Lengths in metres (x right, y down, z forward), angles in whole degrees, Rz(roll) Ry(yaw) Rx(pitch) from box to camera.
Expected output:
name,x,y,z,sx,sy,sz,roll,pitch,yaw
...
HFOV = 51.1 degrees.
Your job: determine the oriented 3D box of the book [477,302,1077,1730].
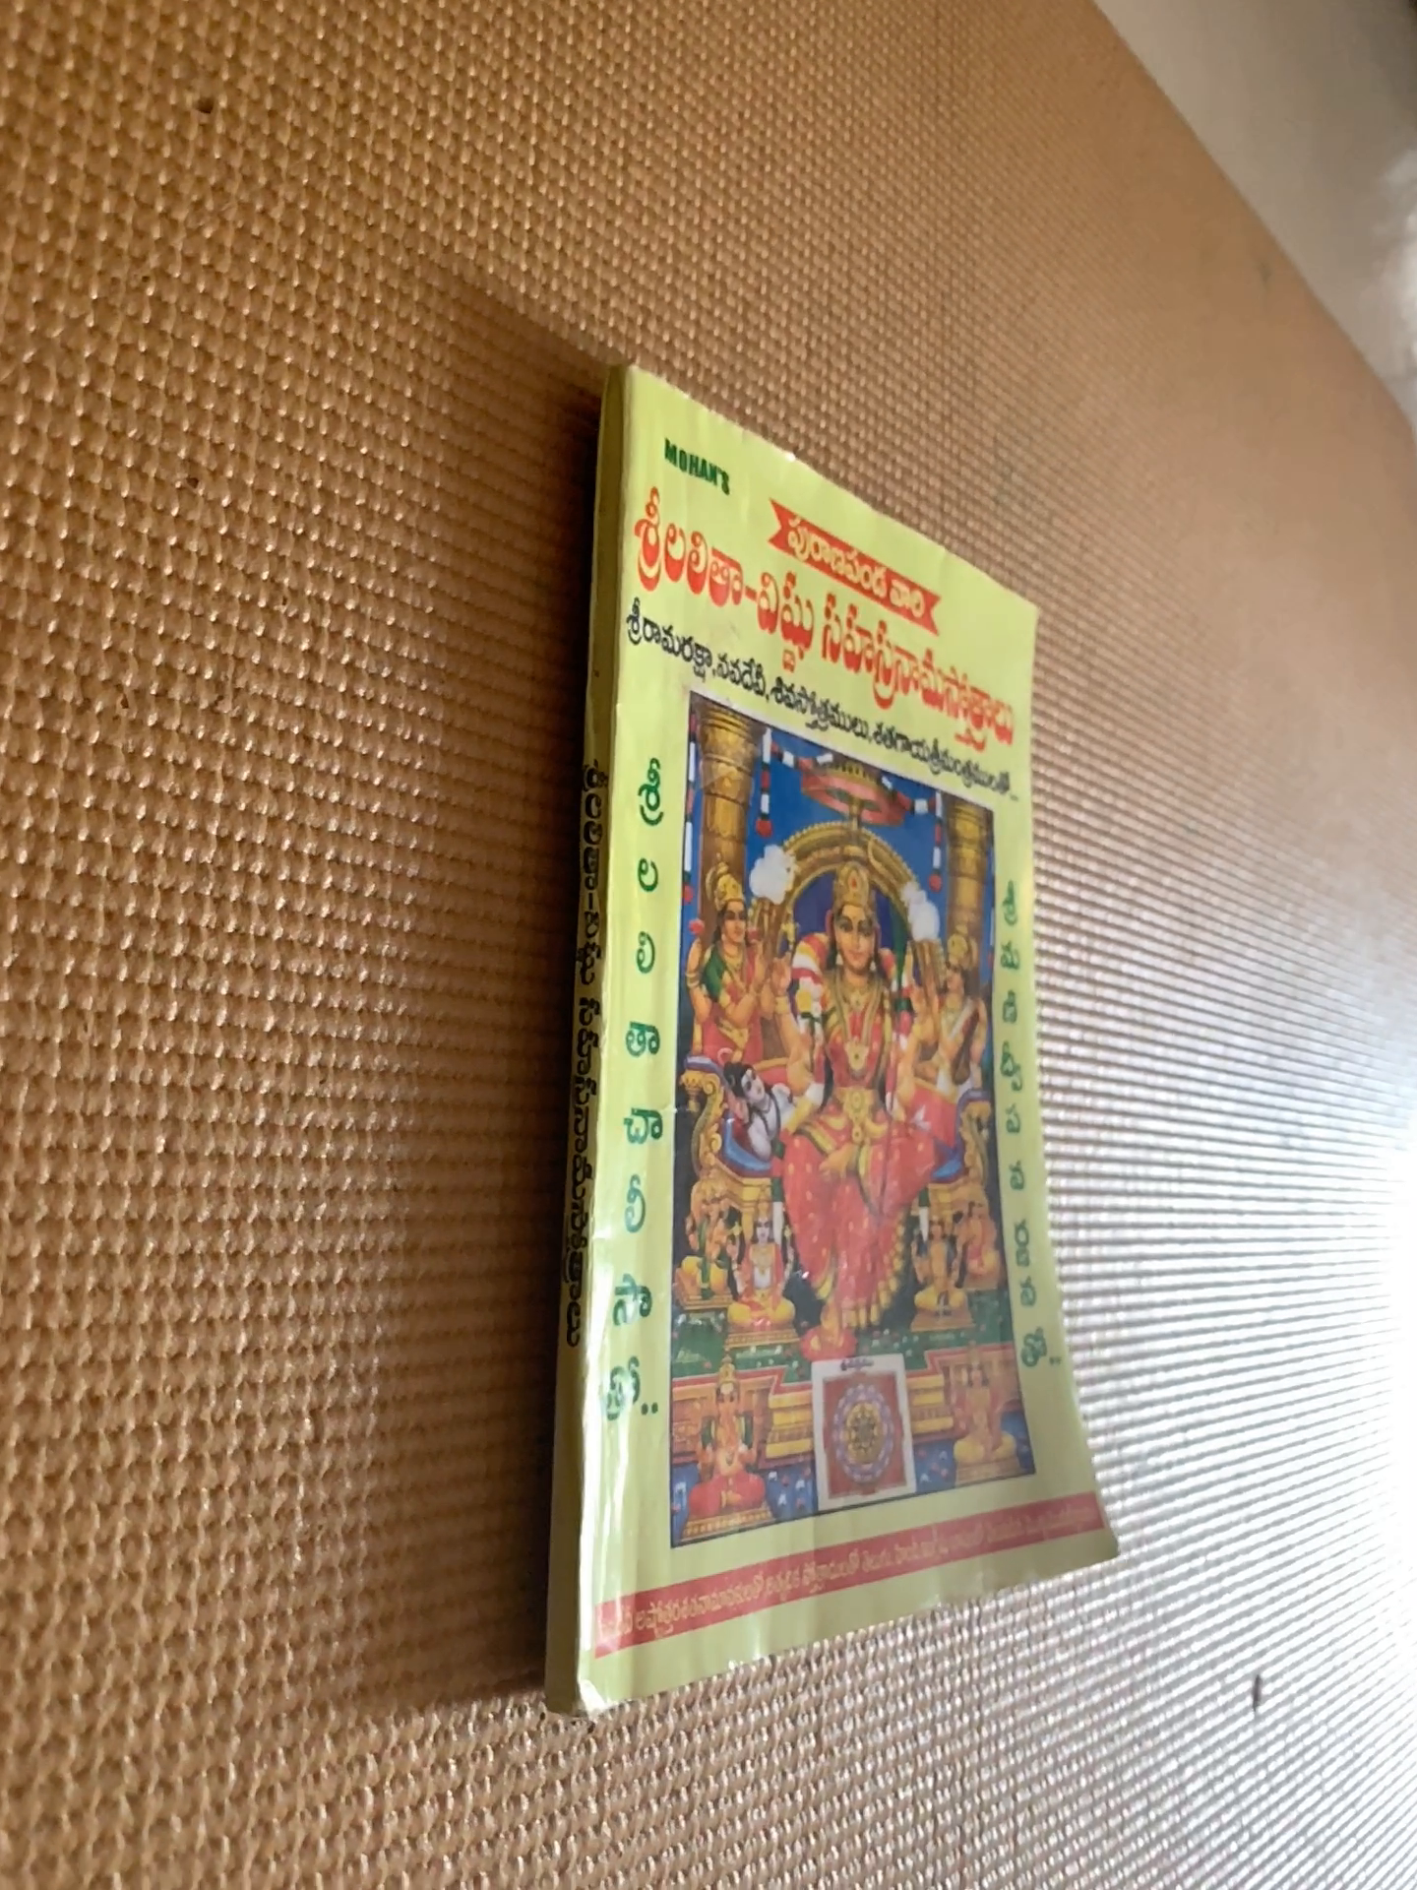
name,x,y,z,sx,sy,sz,roll,pitch,yaw
book,0.022,0.012,0.275,0.141,0.020,0.210,12,75,-48
